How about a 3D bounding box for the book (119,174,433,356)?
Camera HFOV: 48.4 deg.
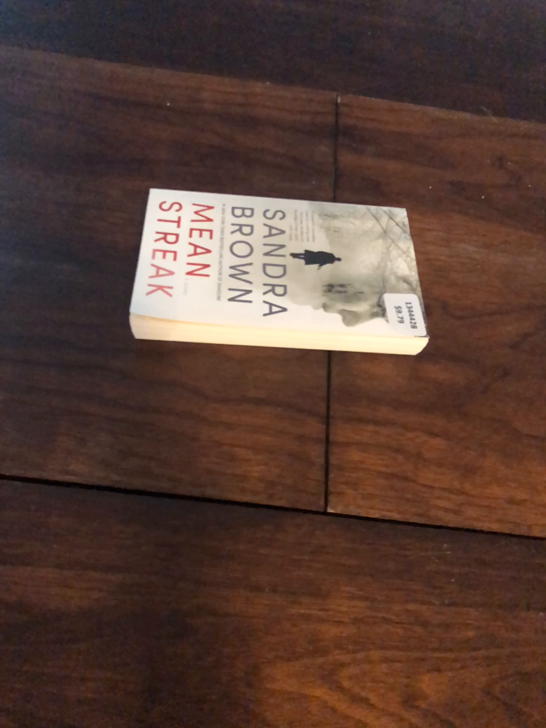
[{"bbox_3d":[0.003,-0.076,0.451,0.207,0.030,0.137,3,55,-4],"label":"book"}]
